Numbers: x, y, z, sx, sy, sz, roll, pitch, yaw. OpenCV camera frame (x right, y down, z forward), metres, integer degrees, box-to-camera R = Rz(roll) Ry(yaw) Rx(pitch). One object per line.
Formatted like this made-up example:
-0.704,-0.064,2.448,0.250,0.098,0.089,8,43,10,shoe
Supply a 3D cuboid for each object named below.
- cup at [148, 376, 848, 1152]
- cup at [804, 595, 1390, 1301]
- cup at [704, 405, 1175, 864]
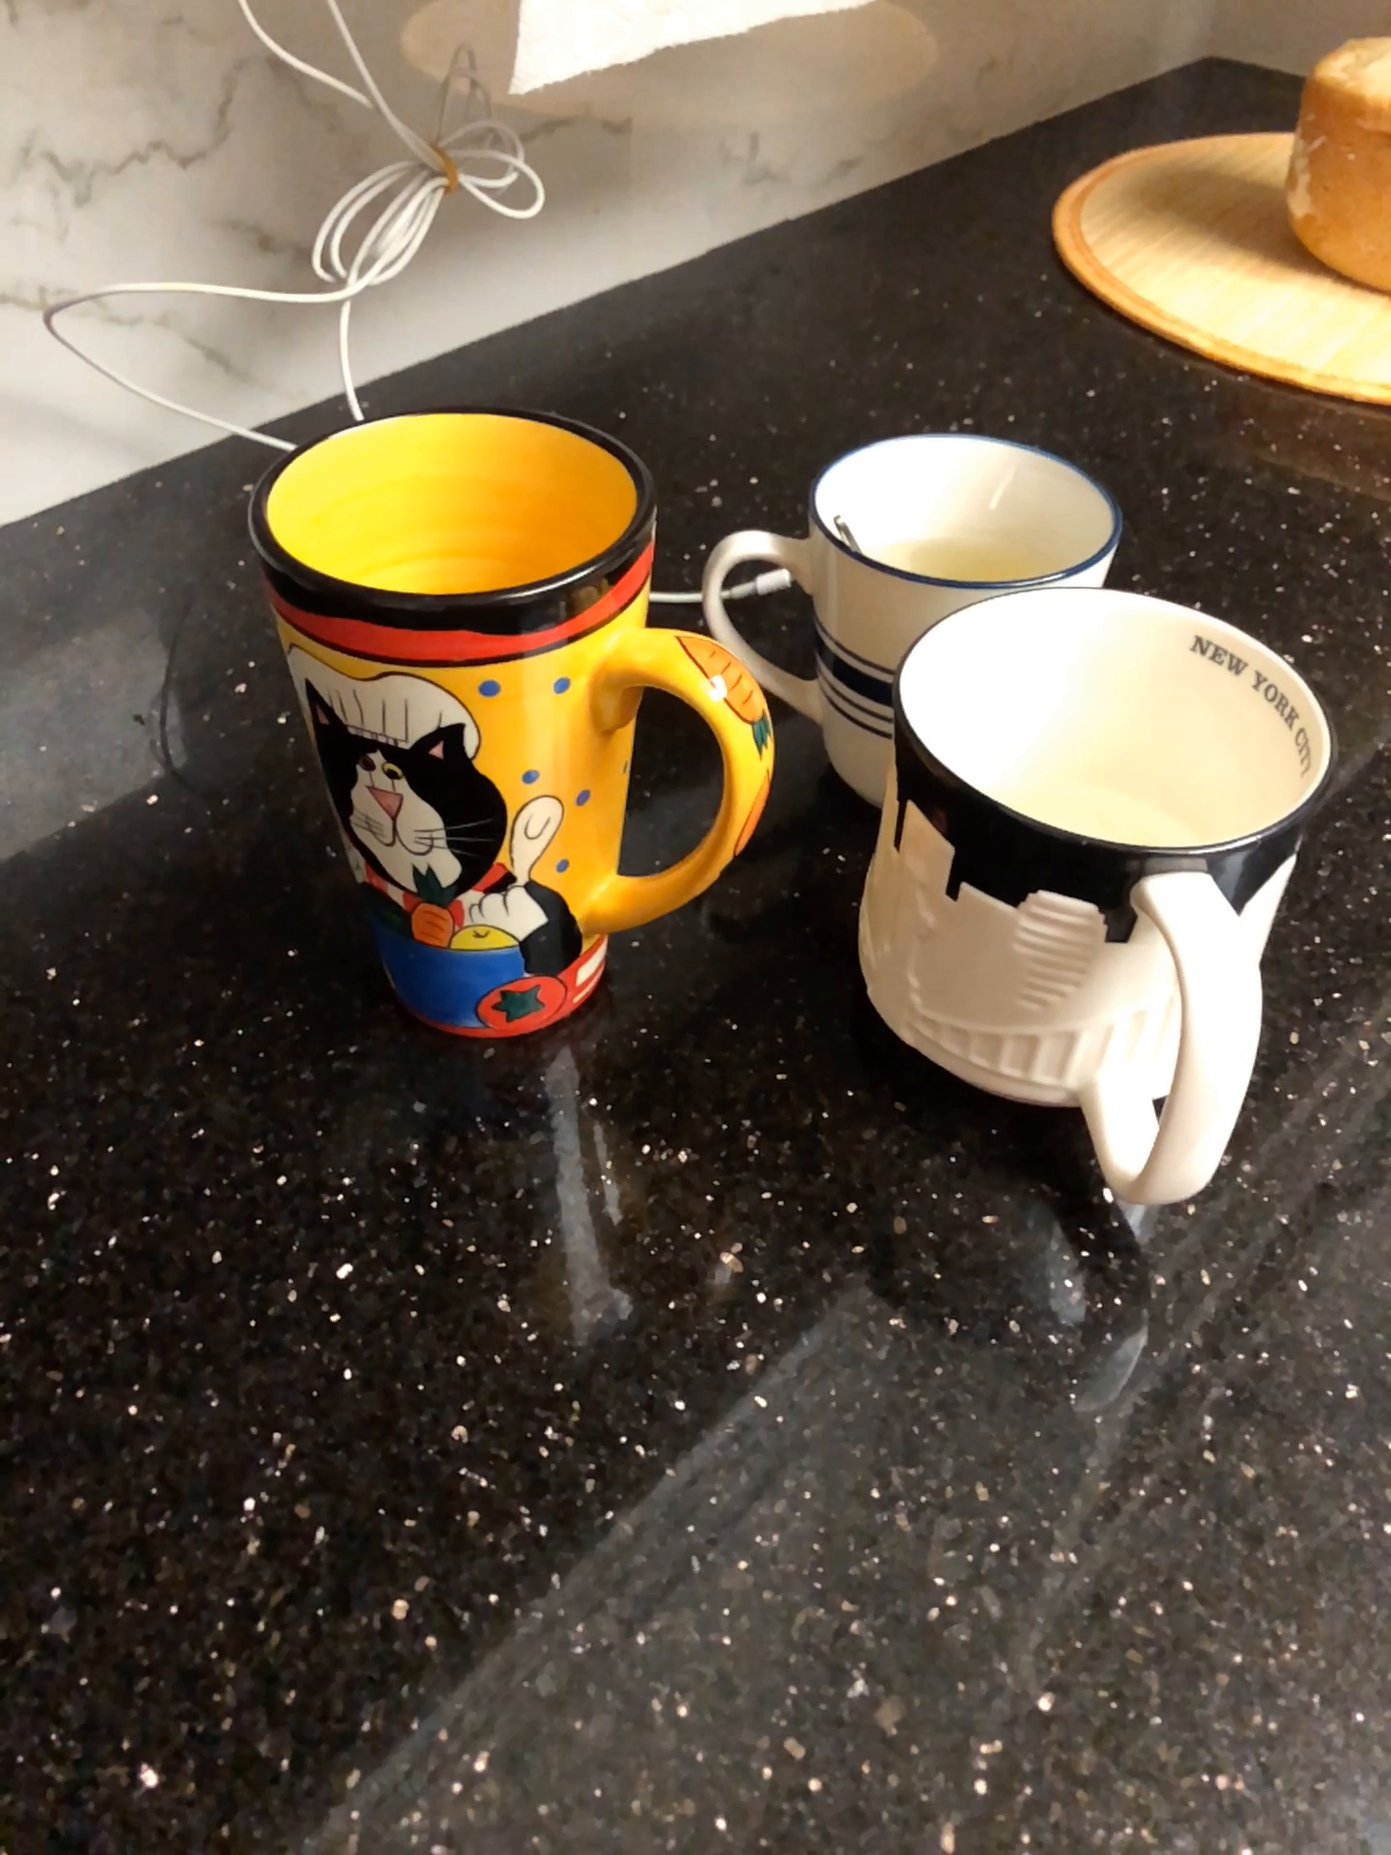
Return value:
-0.043,-0.041,0.376,0.120,0.129,0.090,24,48,21,cup
0.093,-0.001,0.376,0.110,0.090,0.151,-2,44,-4,cup
0.071,-0.088,0.457,0.120,0.090,0.080,10,45,8,cup
